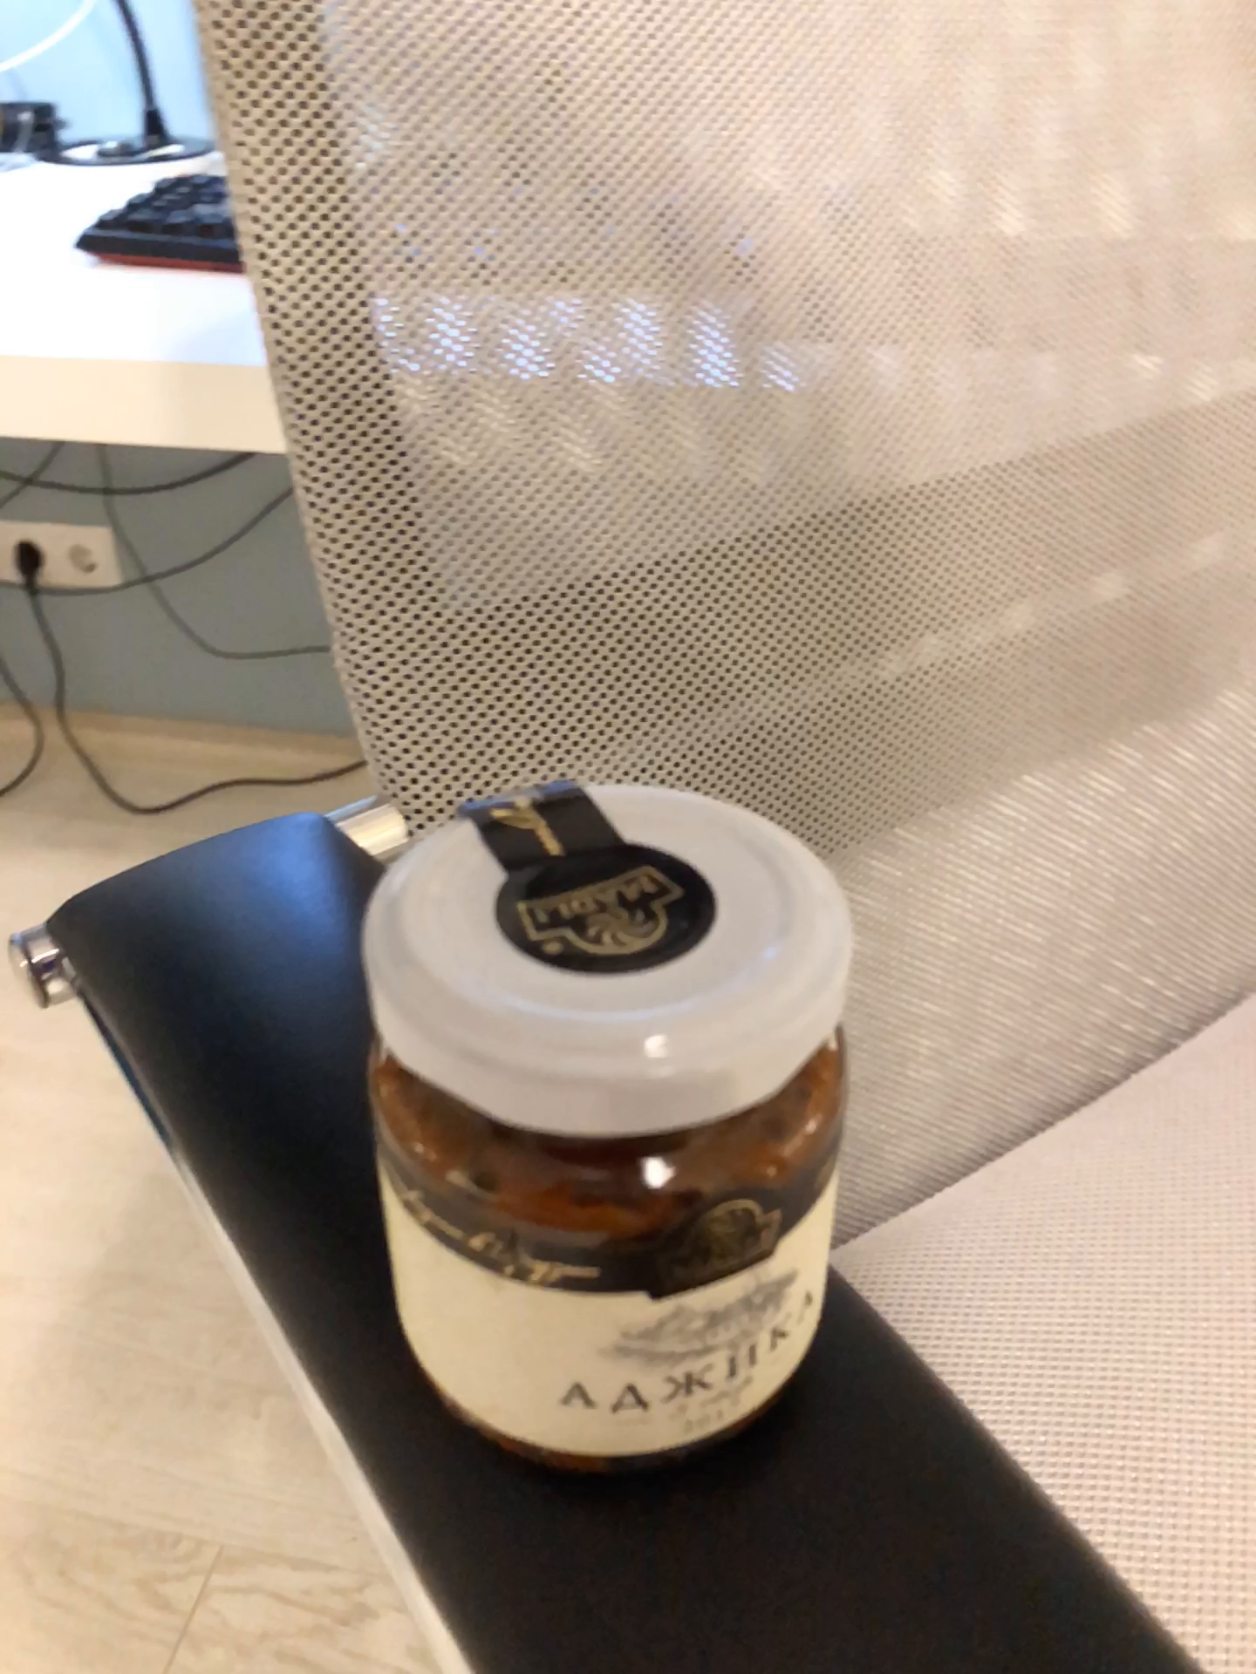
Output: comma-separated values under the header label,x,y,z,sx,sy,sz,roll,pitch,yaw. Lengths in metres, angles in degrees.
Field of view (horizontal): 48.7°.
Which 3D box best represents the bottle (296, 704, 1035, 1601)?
label,x,y,z,sx,sy,sz,roll,pitch,yaw
bottle,0.001,0.034,0.167,0.060,0.069,0.060,-13,36,-18
